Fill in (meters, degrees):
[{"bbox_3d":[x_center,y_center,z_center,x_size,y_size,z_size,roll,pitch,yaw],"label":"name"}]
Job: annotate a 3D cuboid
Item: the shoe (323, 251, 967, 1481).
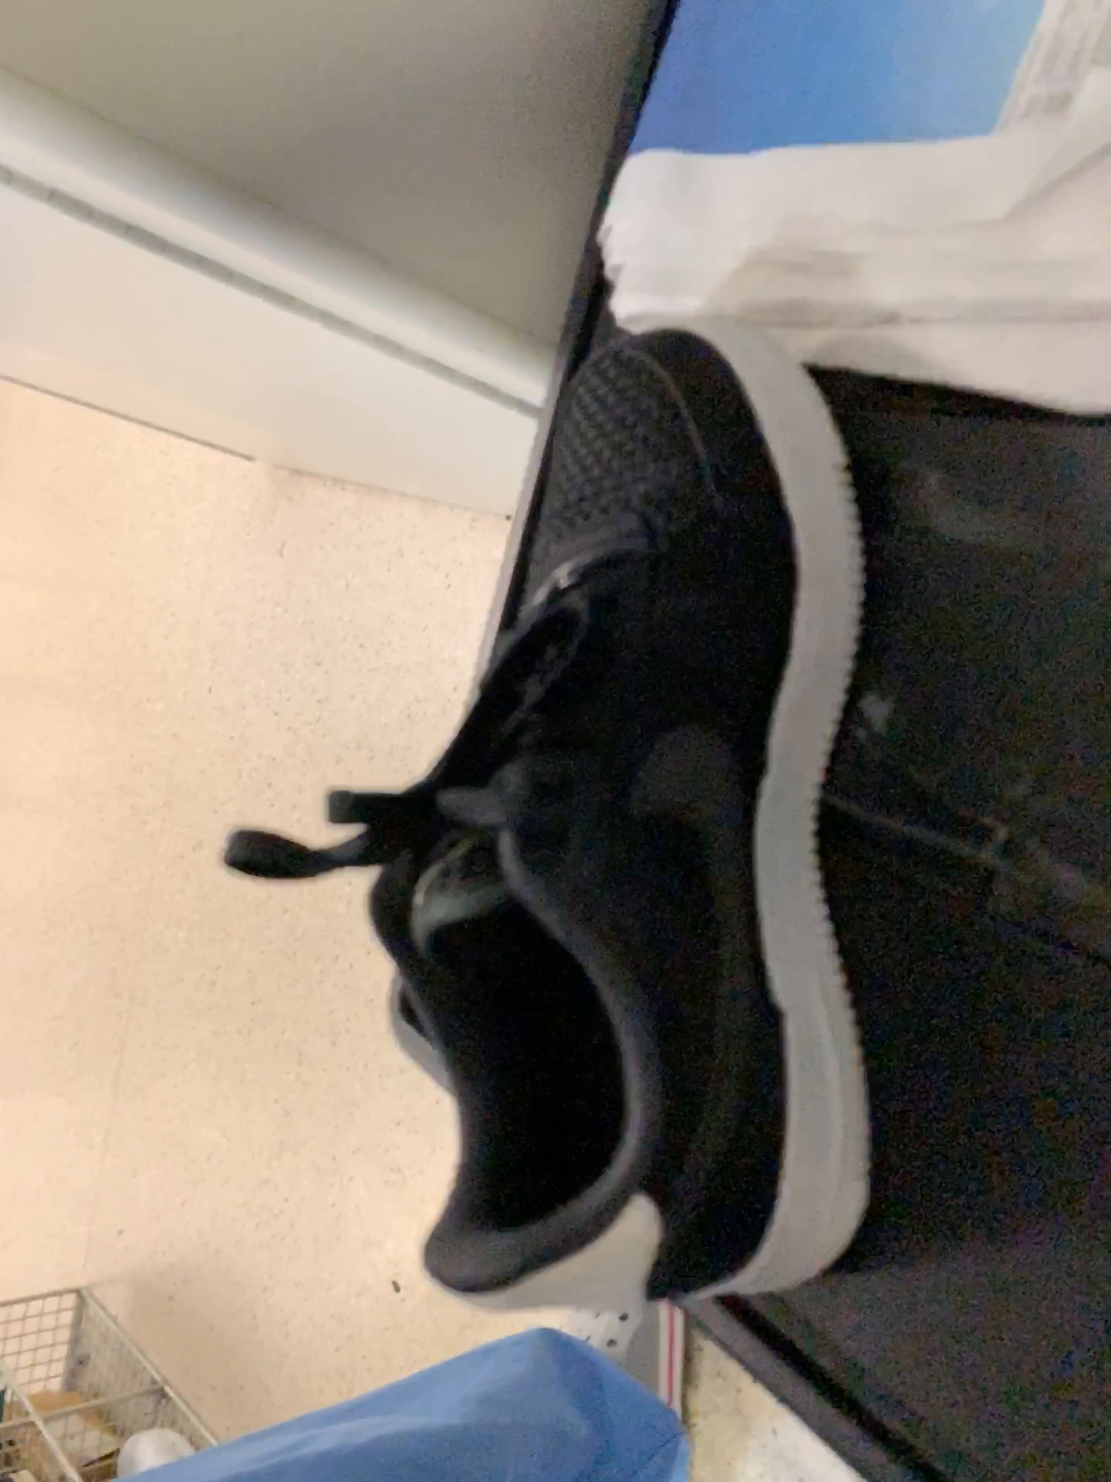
[{"bbox_3d":[0.018,0.031,0.251,0.090,0.094,0.225,-12,73,45],"label":"shoe"}]
